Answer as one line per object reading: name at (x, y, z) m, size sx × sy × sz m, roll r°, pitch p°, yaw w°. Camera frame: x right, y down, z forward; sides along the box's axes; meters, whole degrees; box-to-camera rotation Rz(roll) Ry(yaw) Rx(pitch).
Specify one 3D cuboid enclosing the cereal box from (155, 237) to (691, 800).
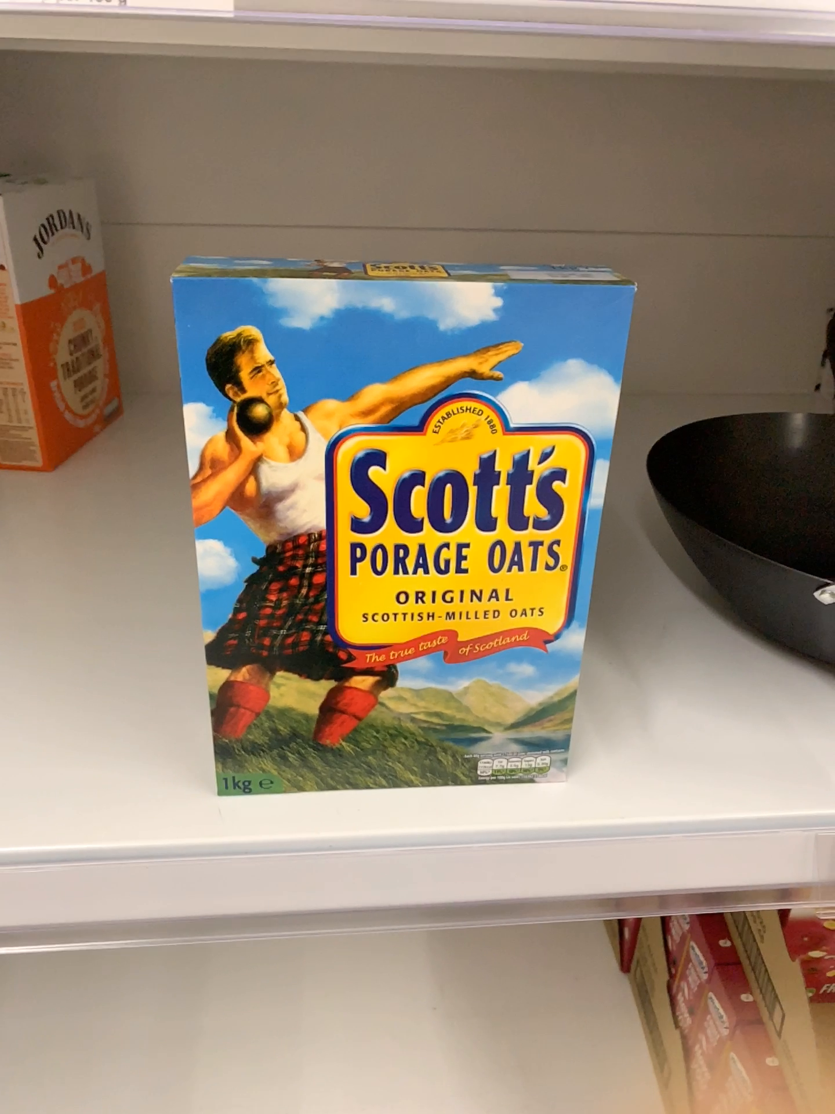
cereal box at (-0.002, -0.010, 0.428) m, size 0.210 × 0.268 × 0.071 m, roll -1°, pitch 28°, yaw -5°
